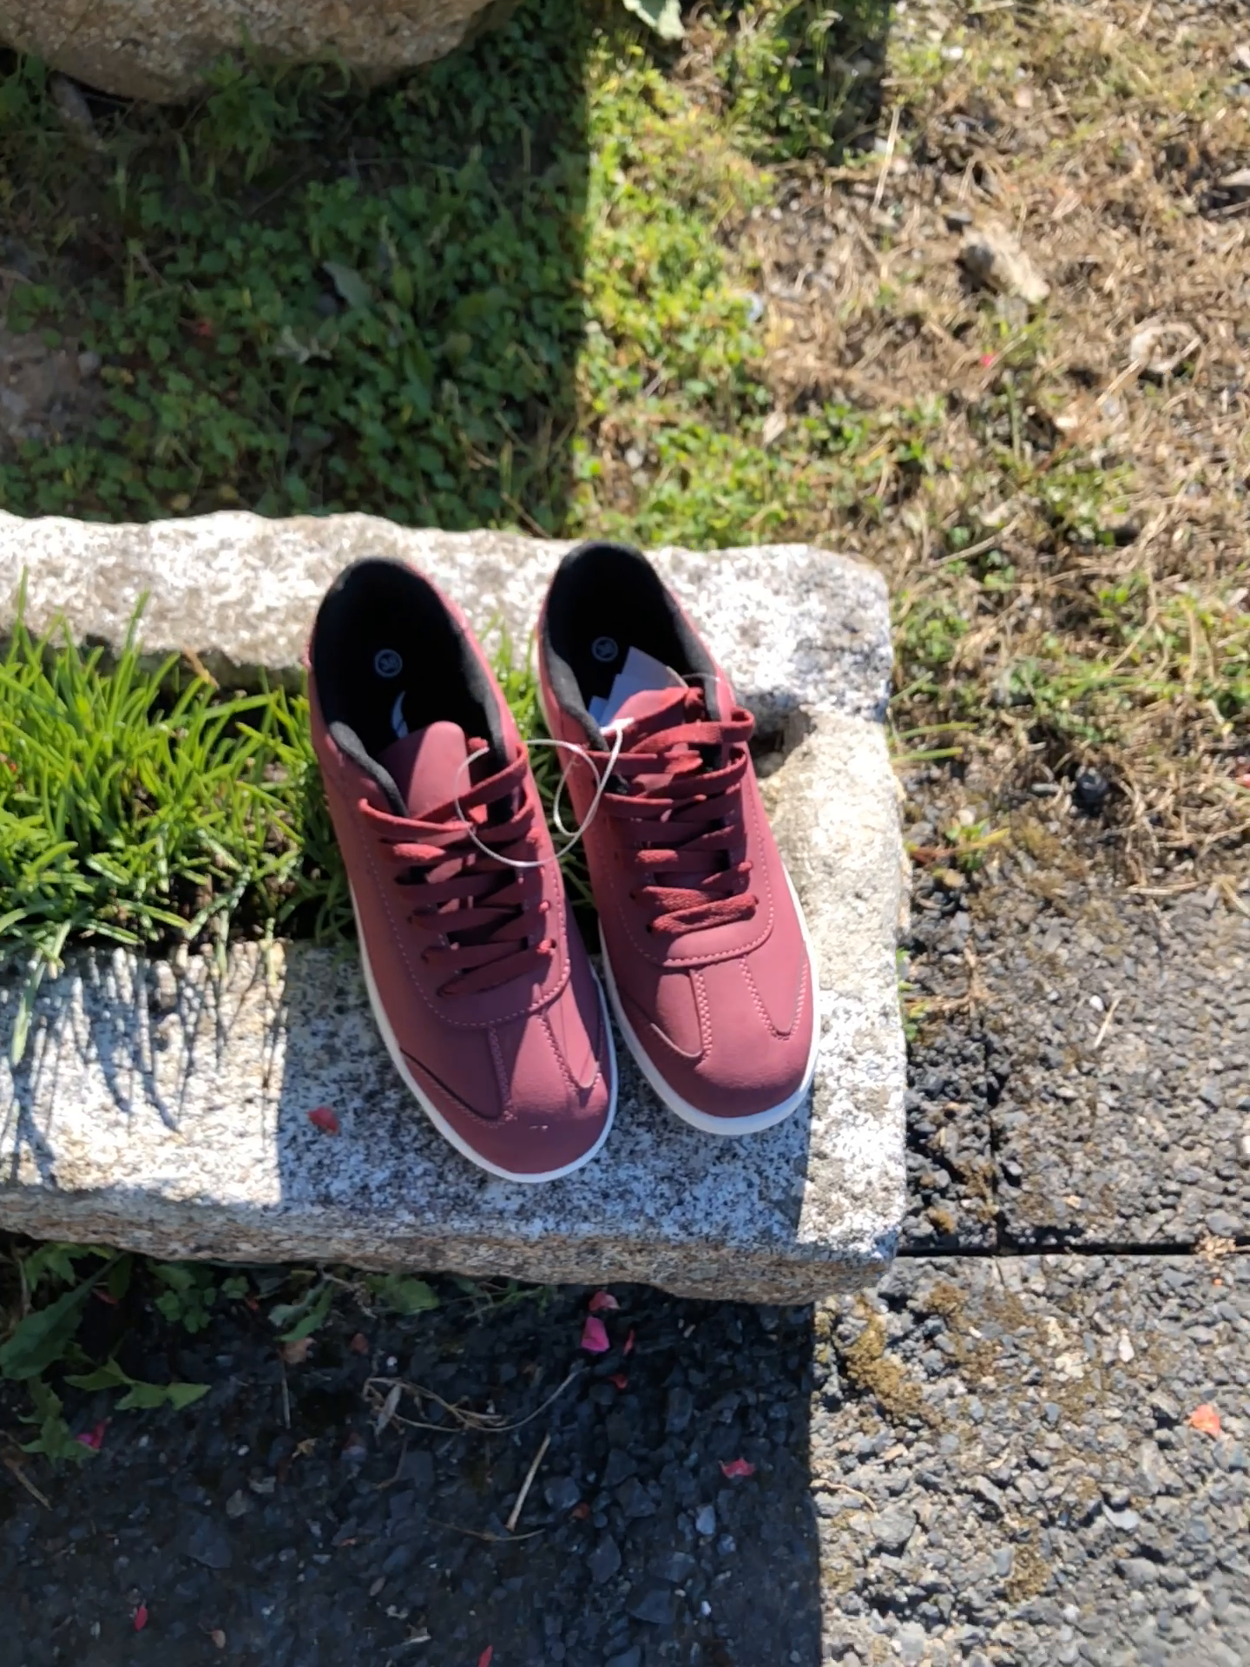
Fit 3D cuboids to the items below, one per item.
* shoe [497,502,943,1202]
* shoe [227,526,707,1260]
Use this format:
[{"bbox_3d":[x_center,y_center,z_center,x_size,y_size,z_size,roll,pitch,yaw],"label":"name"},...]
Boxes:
[{"bbox_3d":[0.028,0.001,0.564,0.100,0.080,0.261,-13,65,-7],"label":"shoe"},{"bbox_3d":[-0.065,0.023,0.553,0.100,0.080,0.260,-19,77,-9],"label":"shoe"}]
